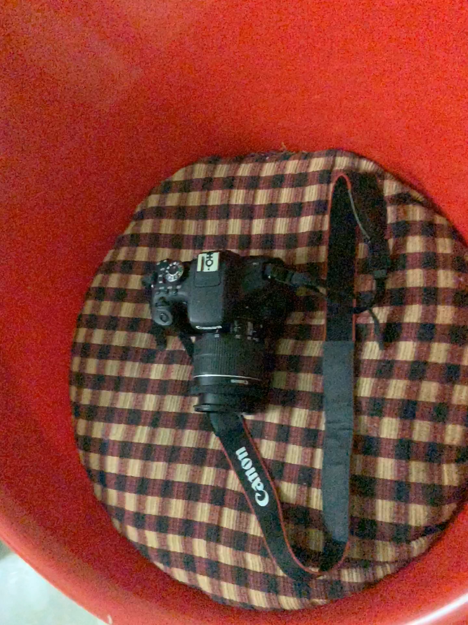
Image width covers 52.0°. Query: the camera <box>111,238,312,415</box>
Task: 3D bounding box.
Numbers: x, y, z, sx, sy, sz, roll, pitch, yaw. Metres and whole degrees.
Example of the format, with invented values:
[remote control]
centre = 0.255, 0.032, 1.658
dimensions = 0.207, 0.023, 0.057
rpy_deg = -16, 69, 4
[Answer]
[camera]
centre = -0.012, 0.021, 0.459
dimensions = 0.140, 0.130, 0.138
rpy_deg = 0, 78, 23
